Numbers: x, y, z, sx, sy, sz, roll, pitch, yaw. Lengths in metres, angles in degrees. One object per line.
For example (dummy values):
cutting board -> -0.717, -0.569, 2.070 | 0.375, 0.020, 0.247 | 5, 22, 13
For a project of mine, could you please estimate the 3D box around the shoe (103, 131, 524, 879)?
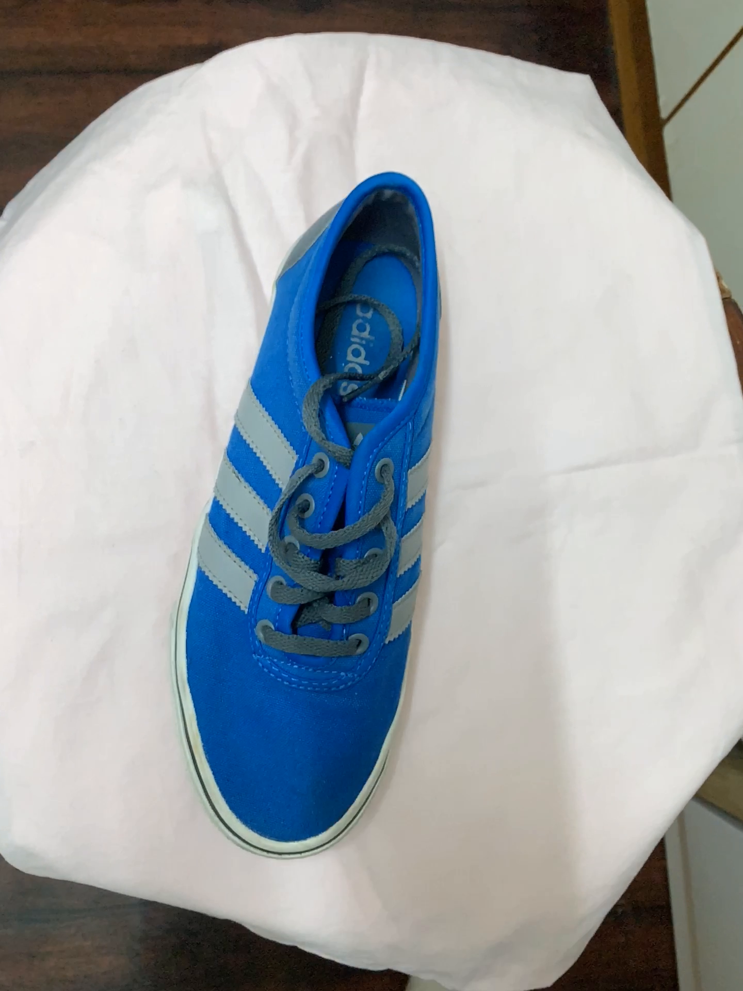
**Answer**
shoe -> -0.019, 0.003, 0.298 | 0.100, 0.090, 0.234 | 10, 83, -6
